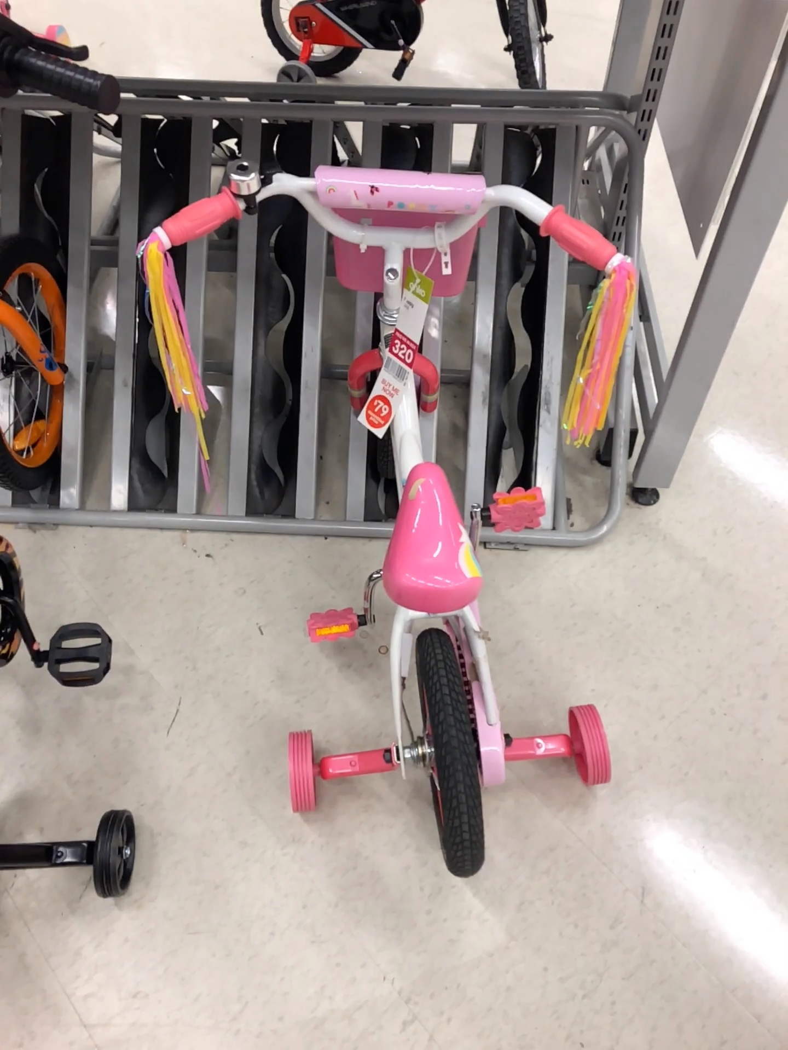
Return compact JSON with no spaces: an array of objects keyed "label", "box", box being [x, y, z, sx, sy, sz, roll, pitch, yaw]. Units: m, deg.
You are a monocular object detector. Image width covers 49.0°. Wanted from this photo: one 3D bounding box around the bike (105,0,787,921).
[{"label":"bike","box":[0.021,-0.117,1.081,0.515,0.591,0.947,-5,54,-4]}]
